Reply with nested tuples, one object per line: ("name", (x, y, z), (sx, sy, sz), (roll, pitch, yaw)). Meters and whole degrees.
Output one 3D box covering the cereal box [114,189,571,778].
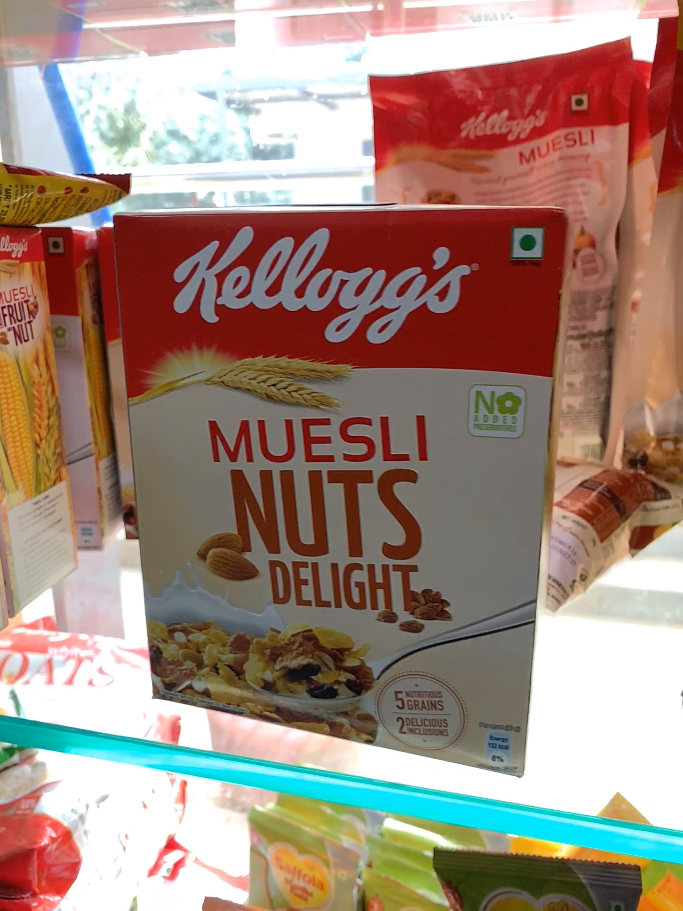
("cereal box", (0.001, 0.004, 0.240), (0.130, 0.169, 0.050), (5, 16, 19))
